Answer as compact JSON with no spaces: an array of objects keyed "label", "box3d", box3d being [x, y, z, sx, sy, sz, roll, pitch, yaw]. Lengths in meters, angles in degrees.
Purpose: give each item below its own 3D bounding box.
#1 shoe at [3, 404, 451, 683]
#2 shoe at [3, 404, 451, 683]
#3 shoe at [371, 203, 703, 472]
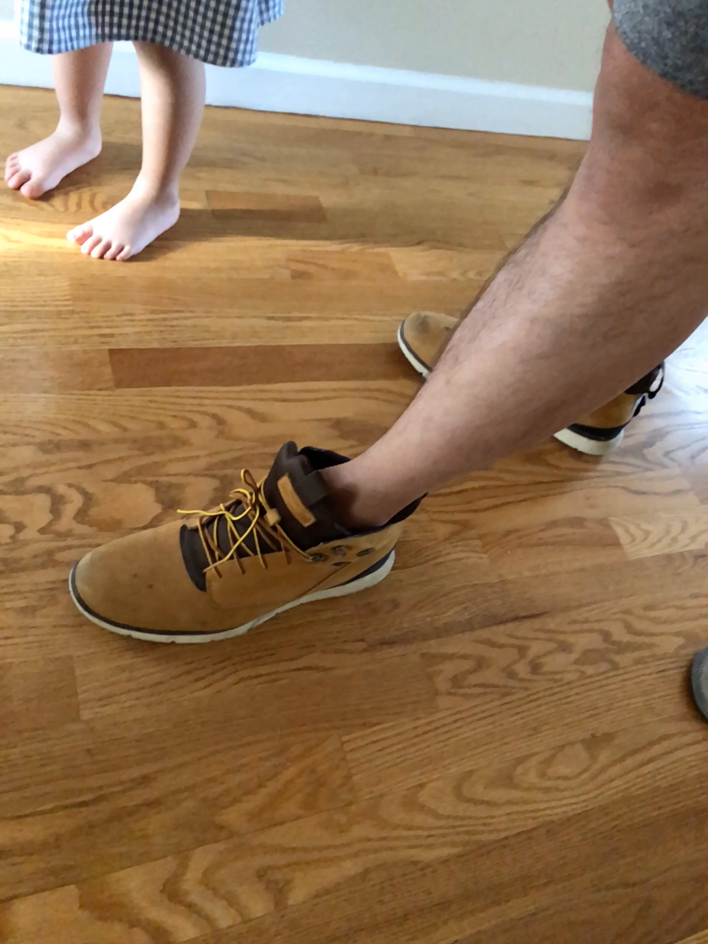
[{"label":"shoe","box3d":[-0.105,0.050,0.631,0.311,0.139,0.130,-7,58,-24]},{"label":"shoe","box3d":[-0.105,0.050,0.631,0.311,0.139,0.130,-7,58,-24]},{"label":"shoe","box3d":[0.211,-0.153,0.917,0.330,0.159,0.131,21,51,-4]}]
